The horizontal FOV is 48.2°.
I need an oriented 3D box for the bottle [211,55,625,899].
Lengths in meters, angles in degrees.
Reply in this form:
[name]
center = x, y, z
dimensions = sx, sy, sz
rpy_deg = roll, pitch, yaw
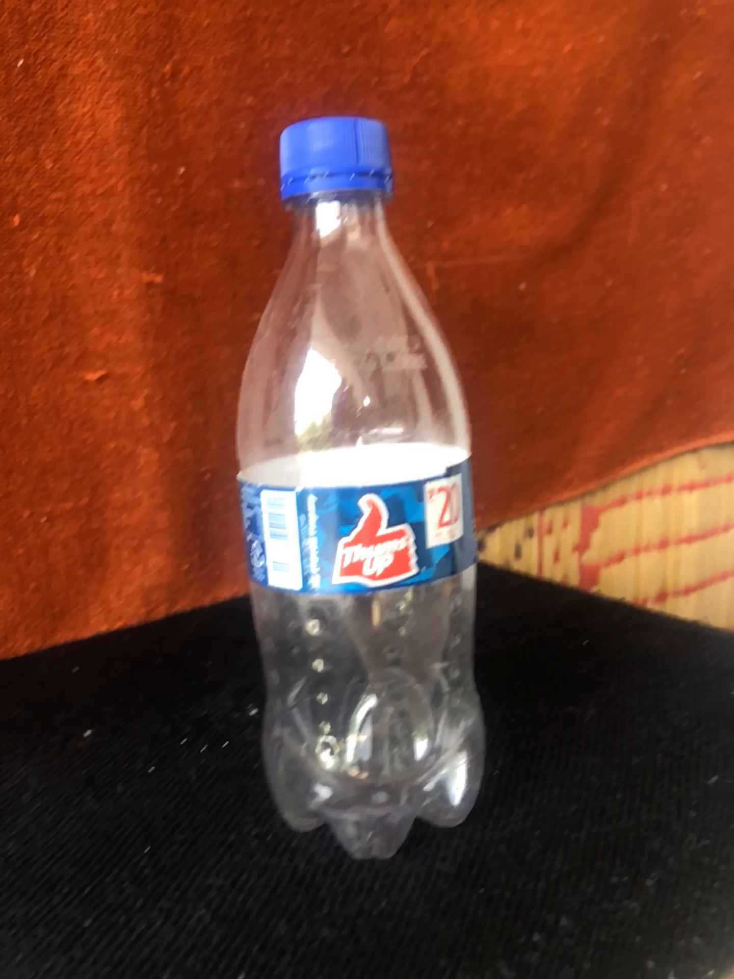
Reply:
[bottle]
center = 0.010, -0.003, 0.170
dimensions = 0.060, 0.140, 0.050
rpy_deg = -10, 16, -36
